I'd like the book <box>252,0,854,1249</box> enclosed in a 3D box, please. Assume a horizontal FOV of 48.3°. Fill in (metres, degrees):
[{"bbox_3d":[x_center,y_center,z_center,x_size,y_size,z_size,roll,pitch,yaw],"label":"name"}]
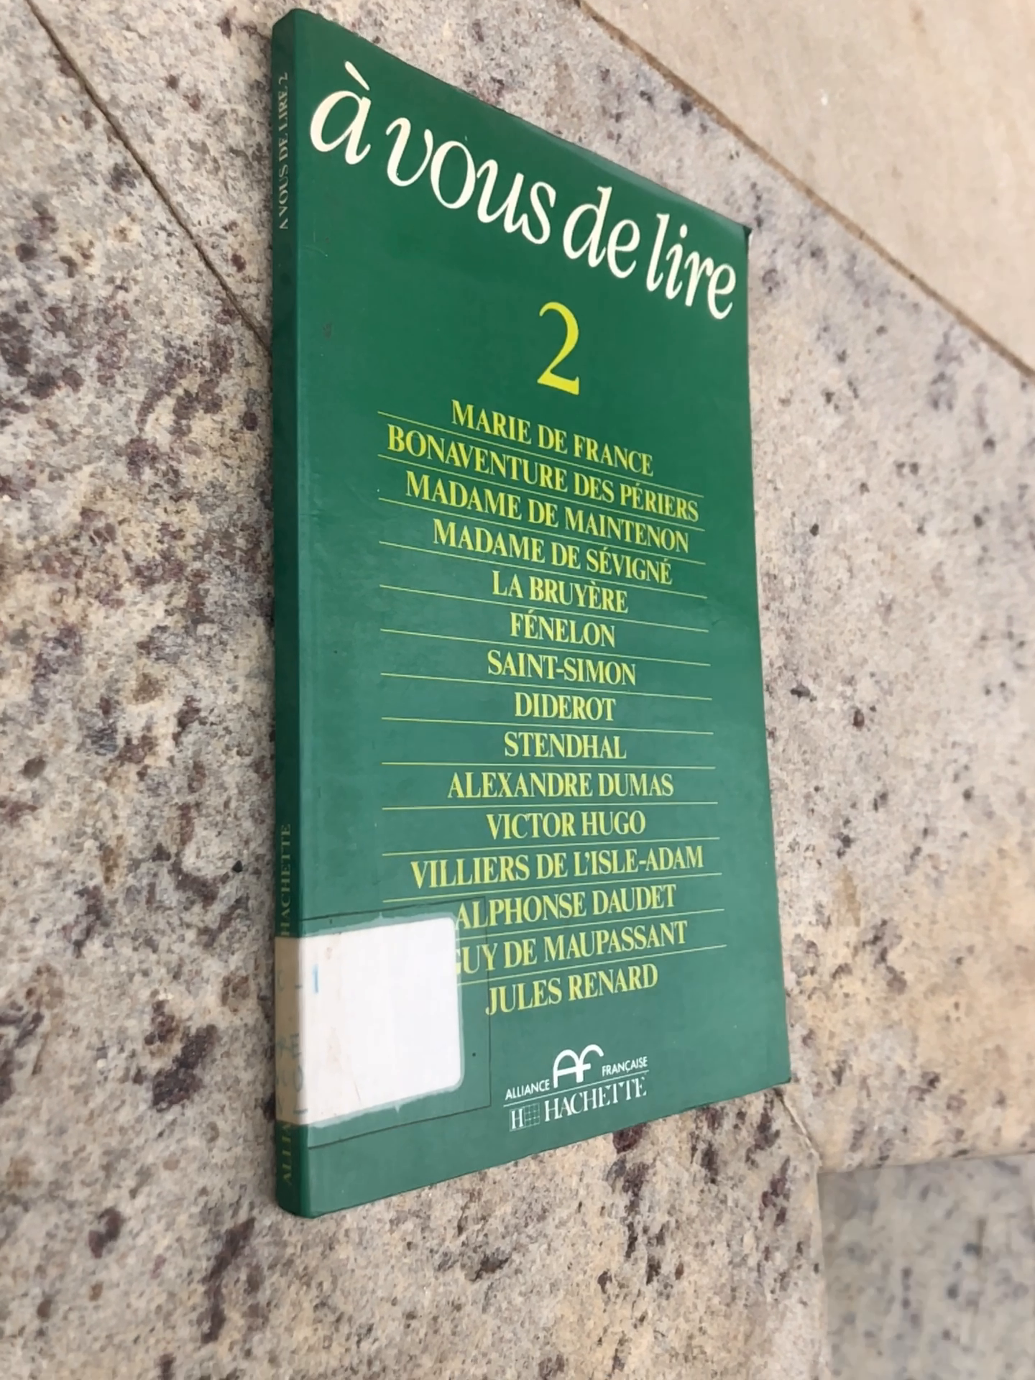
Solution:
[{"bbox_3d":[0.014,-0.014,0.241,0.141,0.017,0.210,4,80,-40],"label":"book"}]
